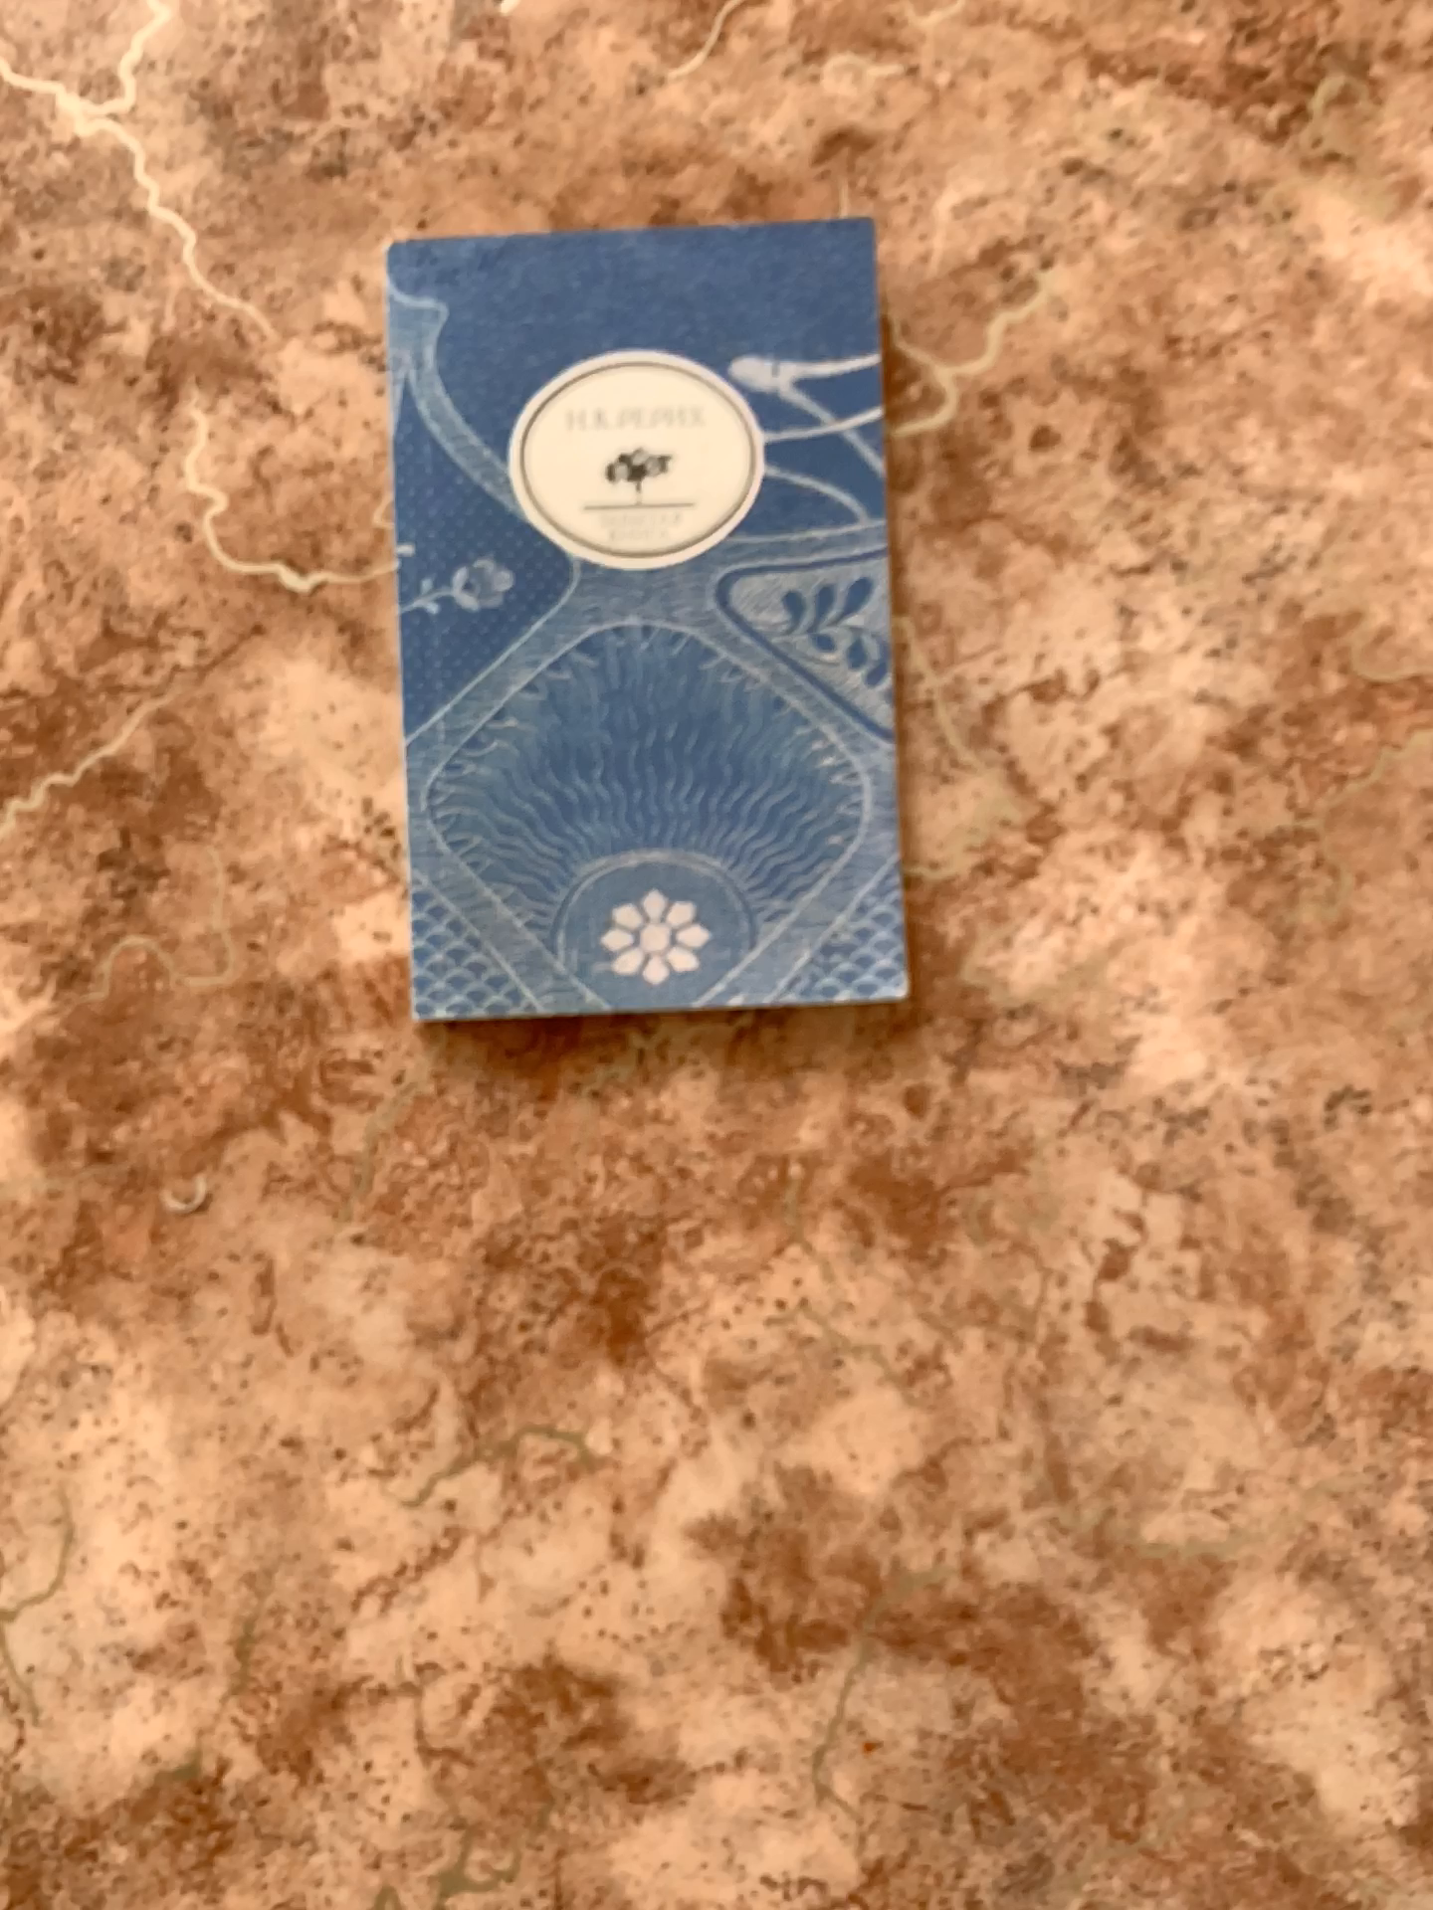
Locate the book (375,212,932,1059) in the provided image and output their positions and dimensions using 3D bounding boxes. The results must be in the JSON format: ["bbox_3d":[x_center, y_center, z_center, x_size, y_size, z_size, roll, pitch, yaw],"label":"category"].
[{"bbox_3d":[-0.016,-0.079,0.372,0.125,0.015,0.202,-3,88,-1],"label":"book"}]
